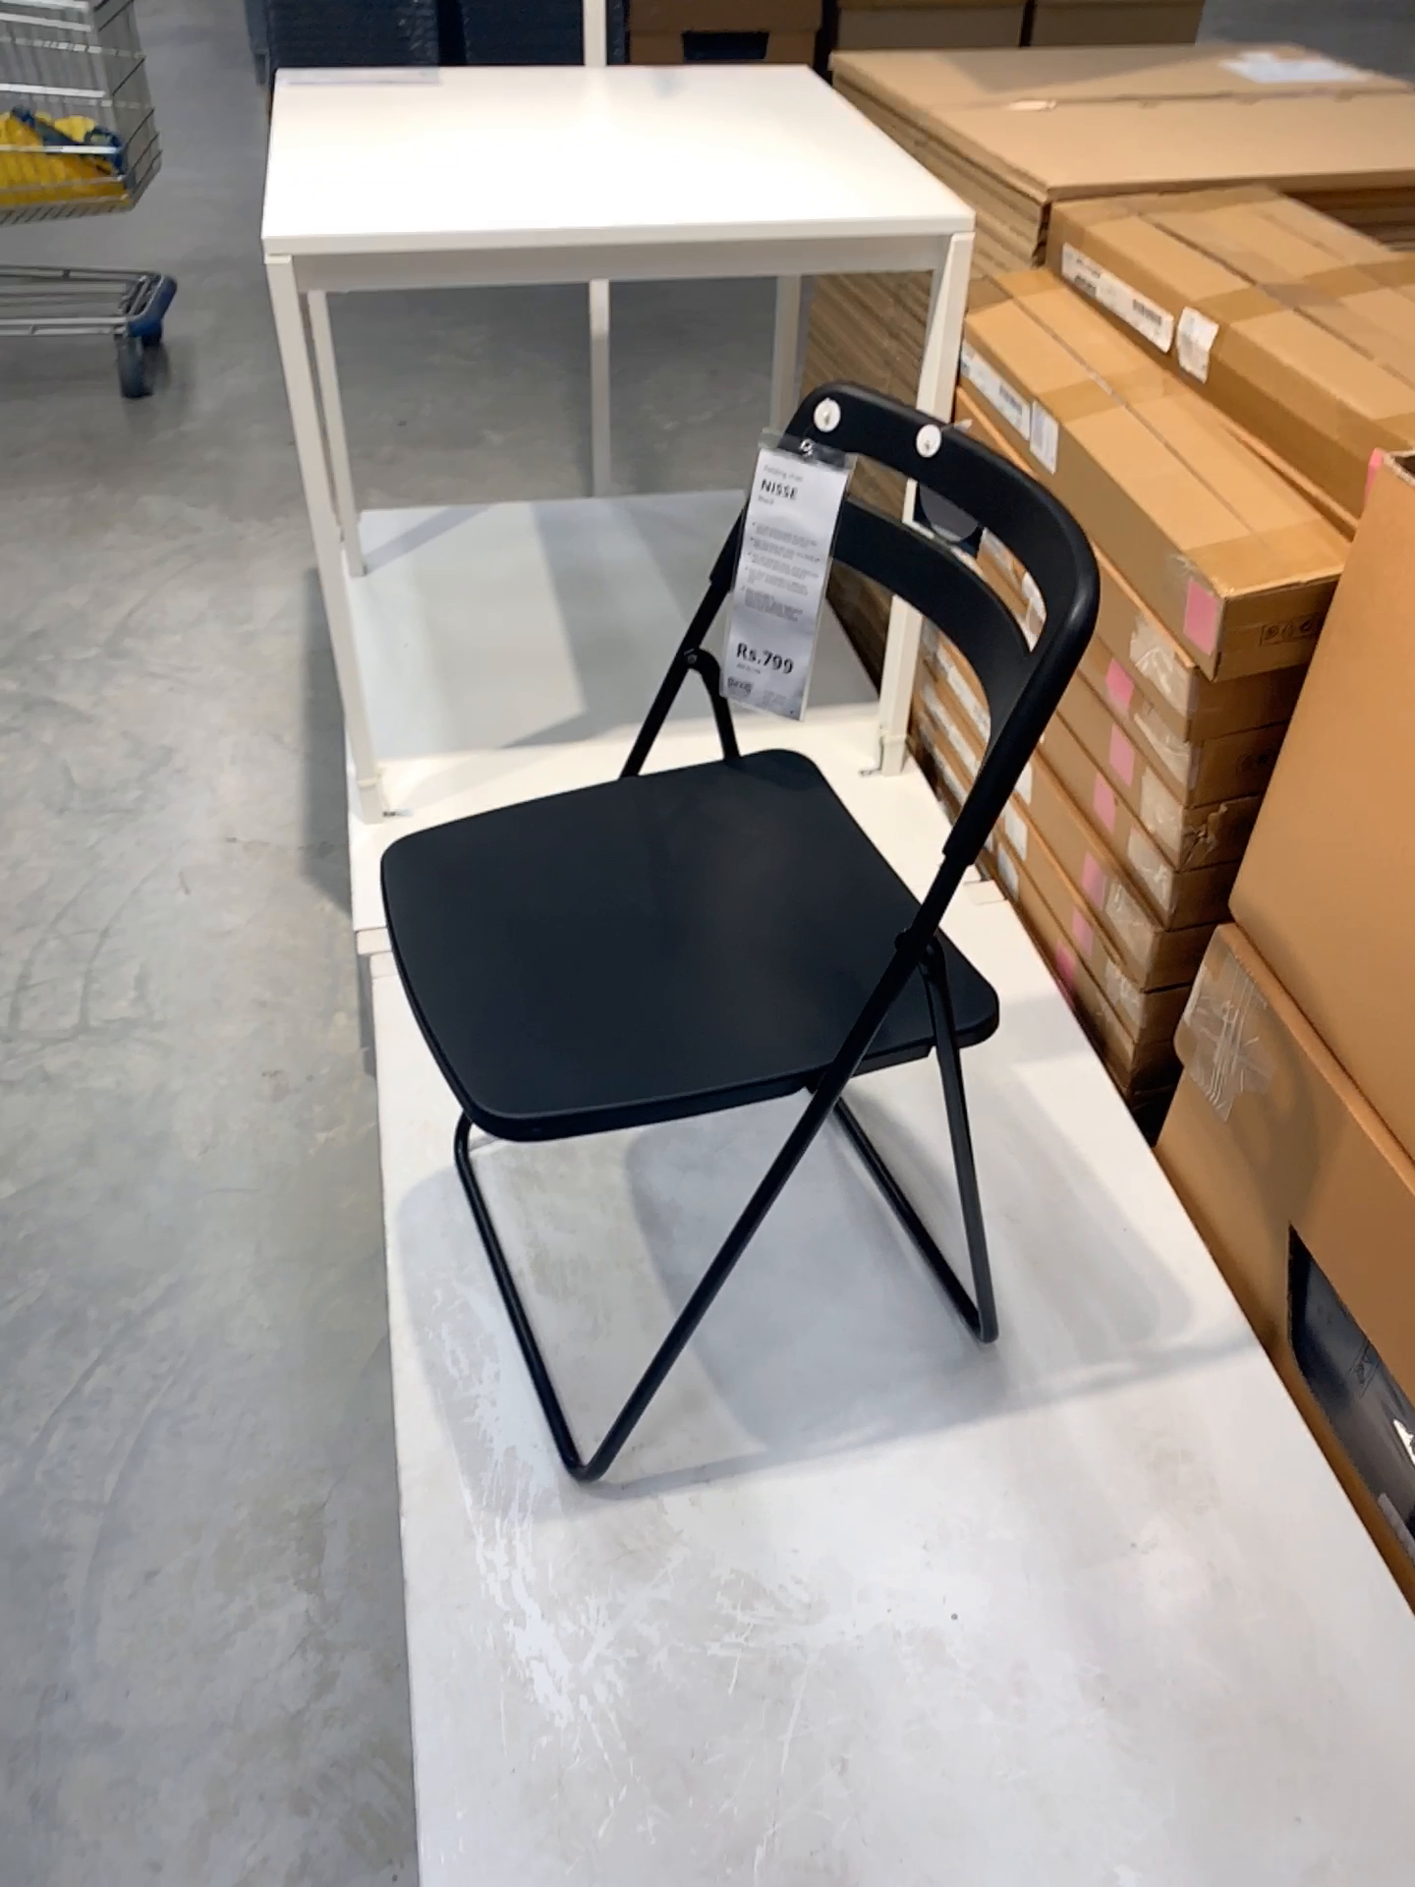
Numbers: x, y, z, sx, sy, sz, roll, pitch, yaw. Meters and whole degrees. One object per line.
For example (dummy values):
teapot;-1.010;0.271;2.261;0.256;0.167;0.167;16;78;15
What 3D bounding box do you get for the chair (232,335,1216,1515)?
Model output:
chair;-0.030;-0.018;1.083;0.450;0.657;0.462;-14;43;-17
